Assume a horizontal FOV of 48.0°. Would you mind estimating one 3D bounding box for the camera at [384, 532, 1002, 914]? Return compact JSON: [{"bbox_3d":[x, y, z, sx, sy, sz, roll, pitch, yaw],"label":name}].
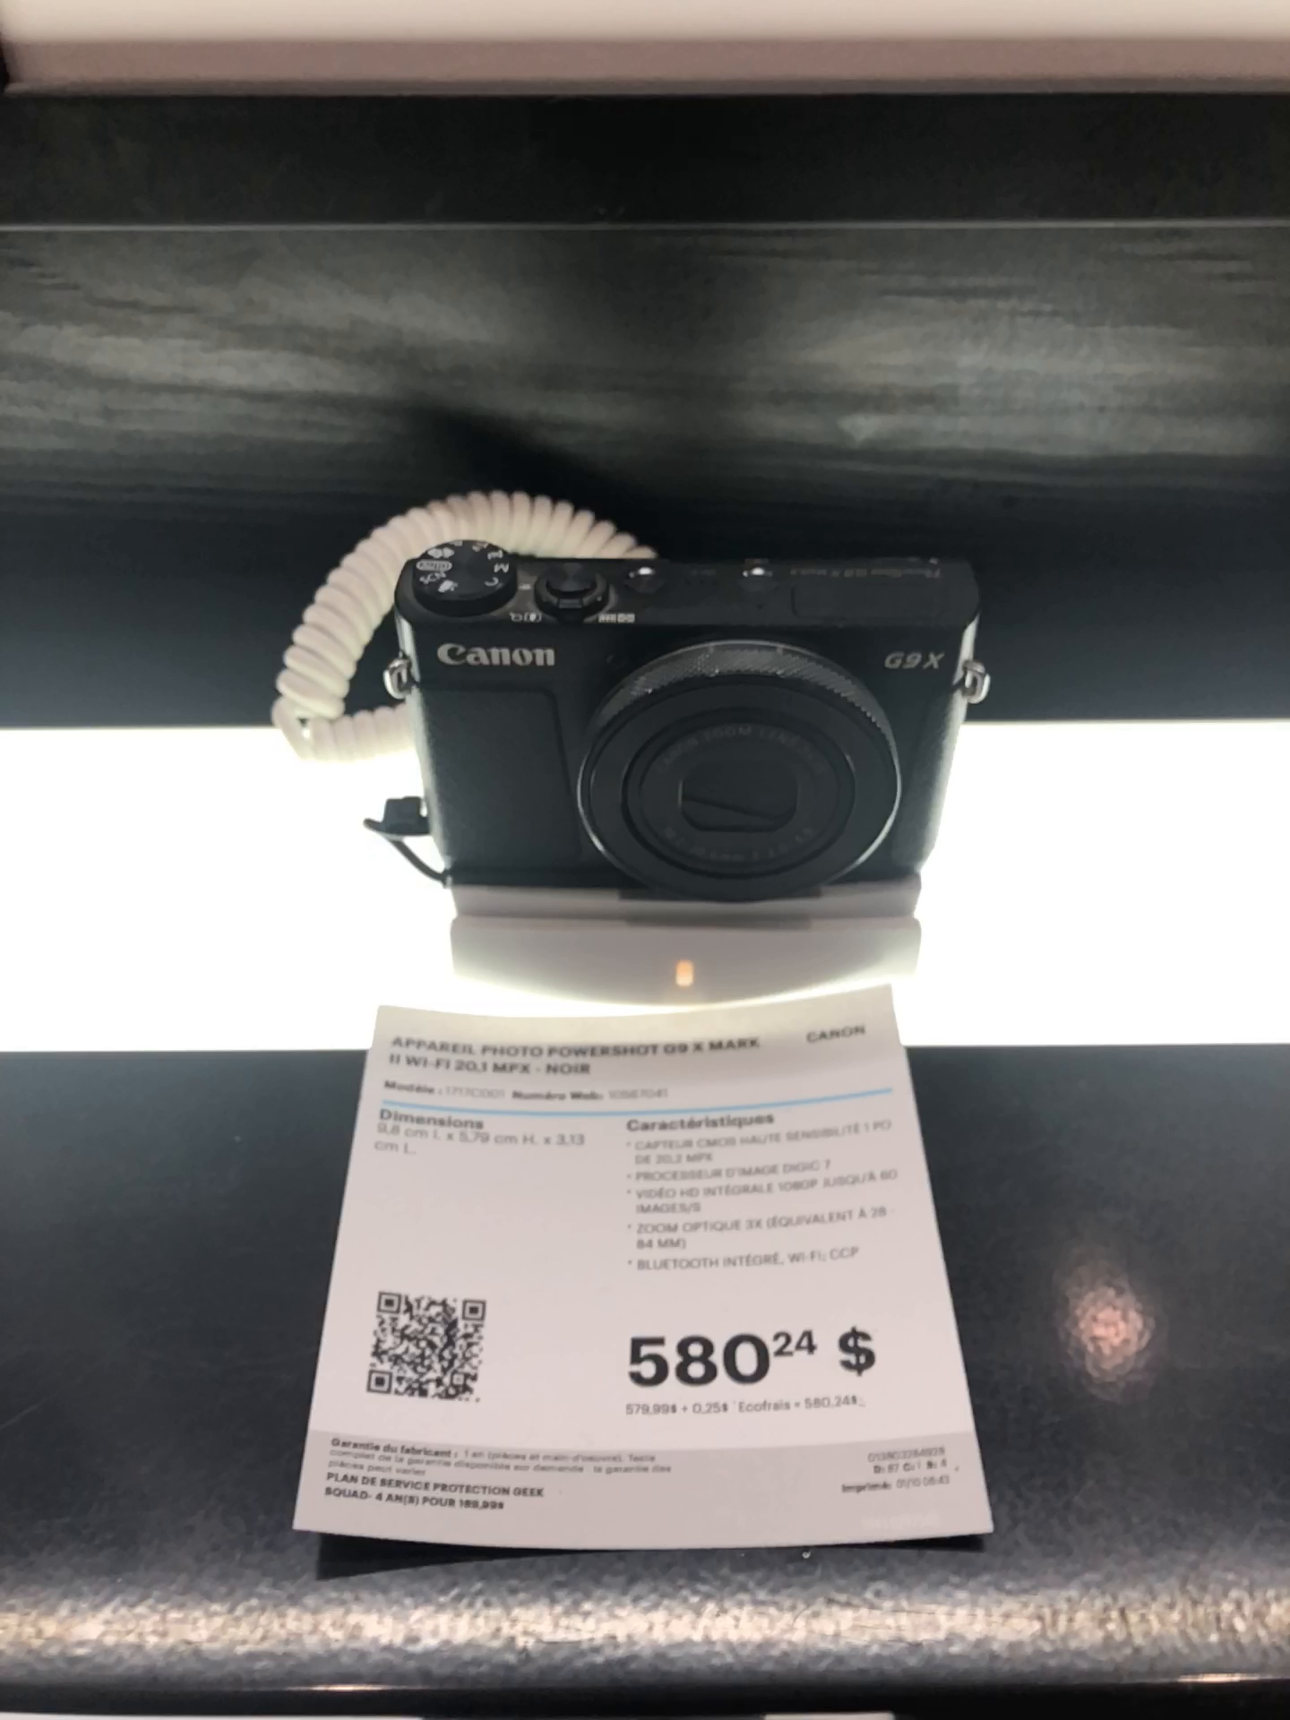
[{"bbox_3d":[0.007,-0.022,0.245,0.092,0.060,0.026,1,42,1],"label":"camera"}]
